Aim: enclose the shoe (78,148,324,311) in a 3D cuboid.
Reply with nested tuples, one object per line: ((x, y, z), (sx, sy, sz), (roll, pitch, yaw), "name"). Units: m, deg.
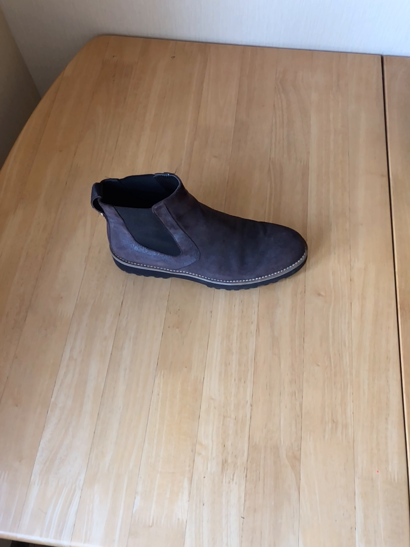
((0.001, -0.043, 0.484), (0.220, 0.120, 0.100), (8, 65, 5), "shoe")
